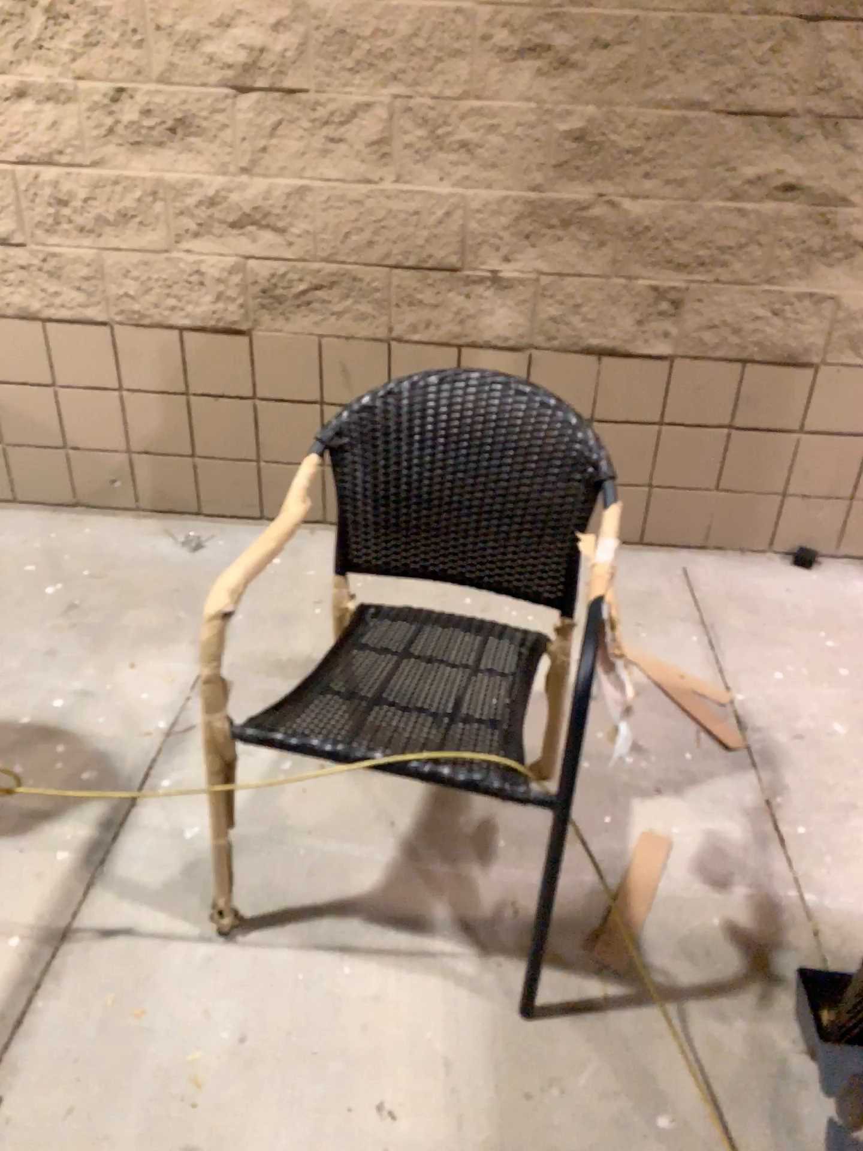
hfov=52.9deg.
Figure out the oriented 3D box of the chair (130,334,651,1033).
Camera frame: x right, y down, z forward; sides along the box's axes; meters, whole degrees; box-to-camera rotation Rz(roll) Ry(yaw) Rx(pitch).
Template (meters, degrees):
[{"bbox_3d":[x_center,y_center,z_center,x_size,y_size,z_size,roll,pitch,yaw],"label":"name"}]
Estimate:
[{"bbox_3d":[-0.014,0.133,1.405,0.575,0.839,0.600,9,30,11],"label":"chair"}]
